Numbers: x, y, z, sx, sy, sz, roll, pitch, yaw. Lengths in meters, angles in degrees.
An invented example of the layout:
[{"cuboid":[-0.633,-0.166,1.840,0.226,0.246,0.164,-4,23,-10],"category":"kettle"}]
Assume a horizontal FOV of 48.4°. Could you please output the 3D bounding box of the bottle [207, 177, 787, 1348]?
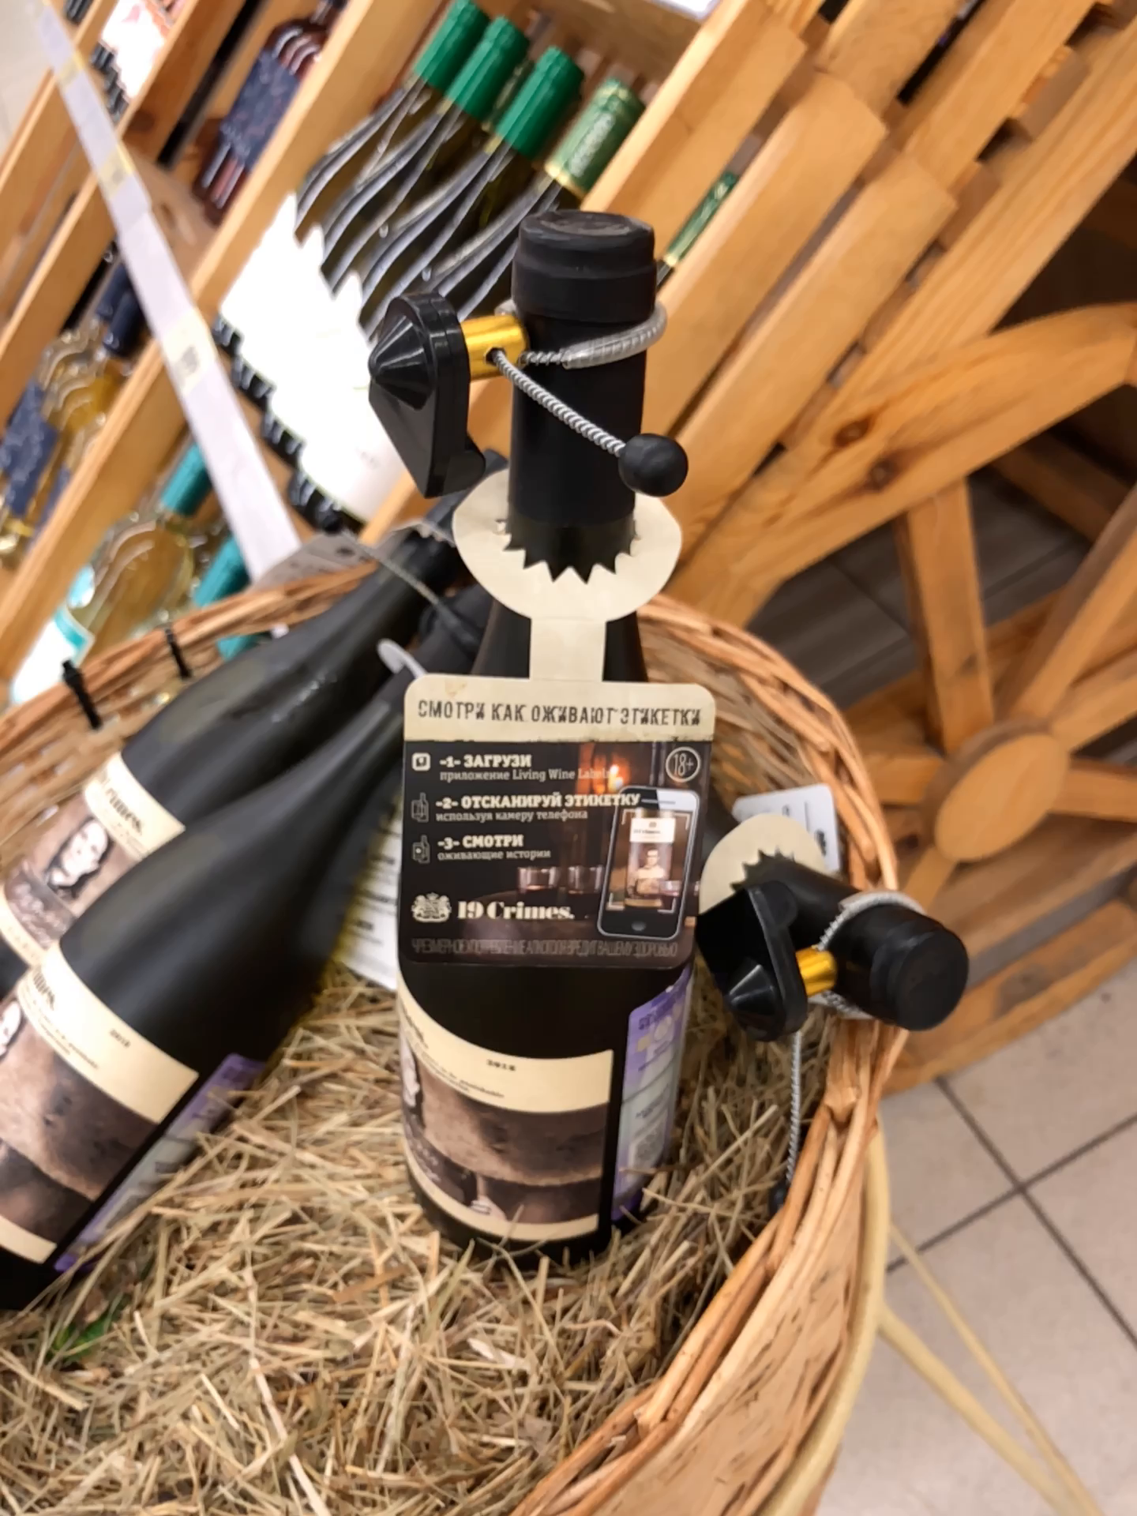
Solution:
[{"cuboid":[-0.016,0.019,0.326,0.080,0.289,0.090,-17,40,-21],"category":"bottle"}]
